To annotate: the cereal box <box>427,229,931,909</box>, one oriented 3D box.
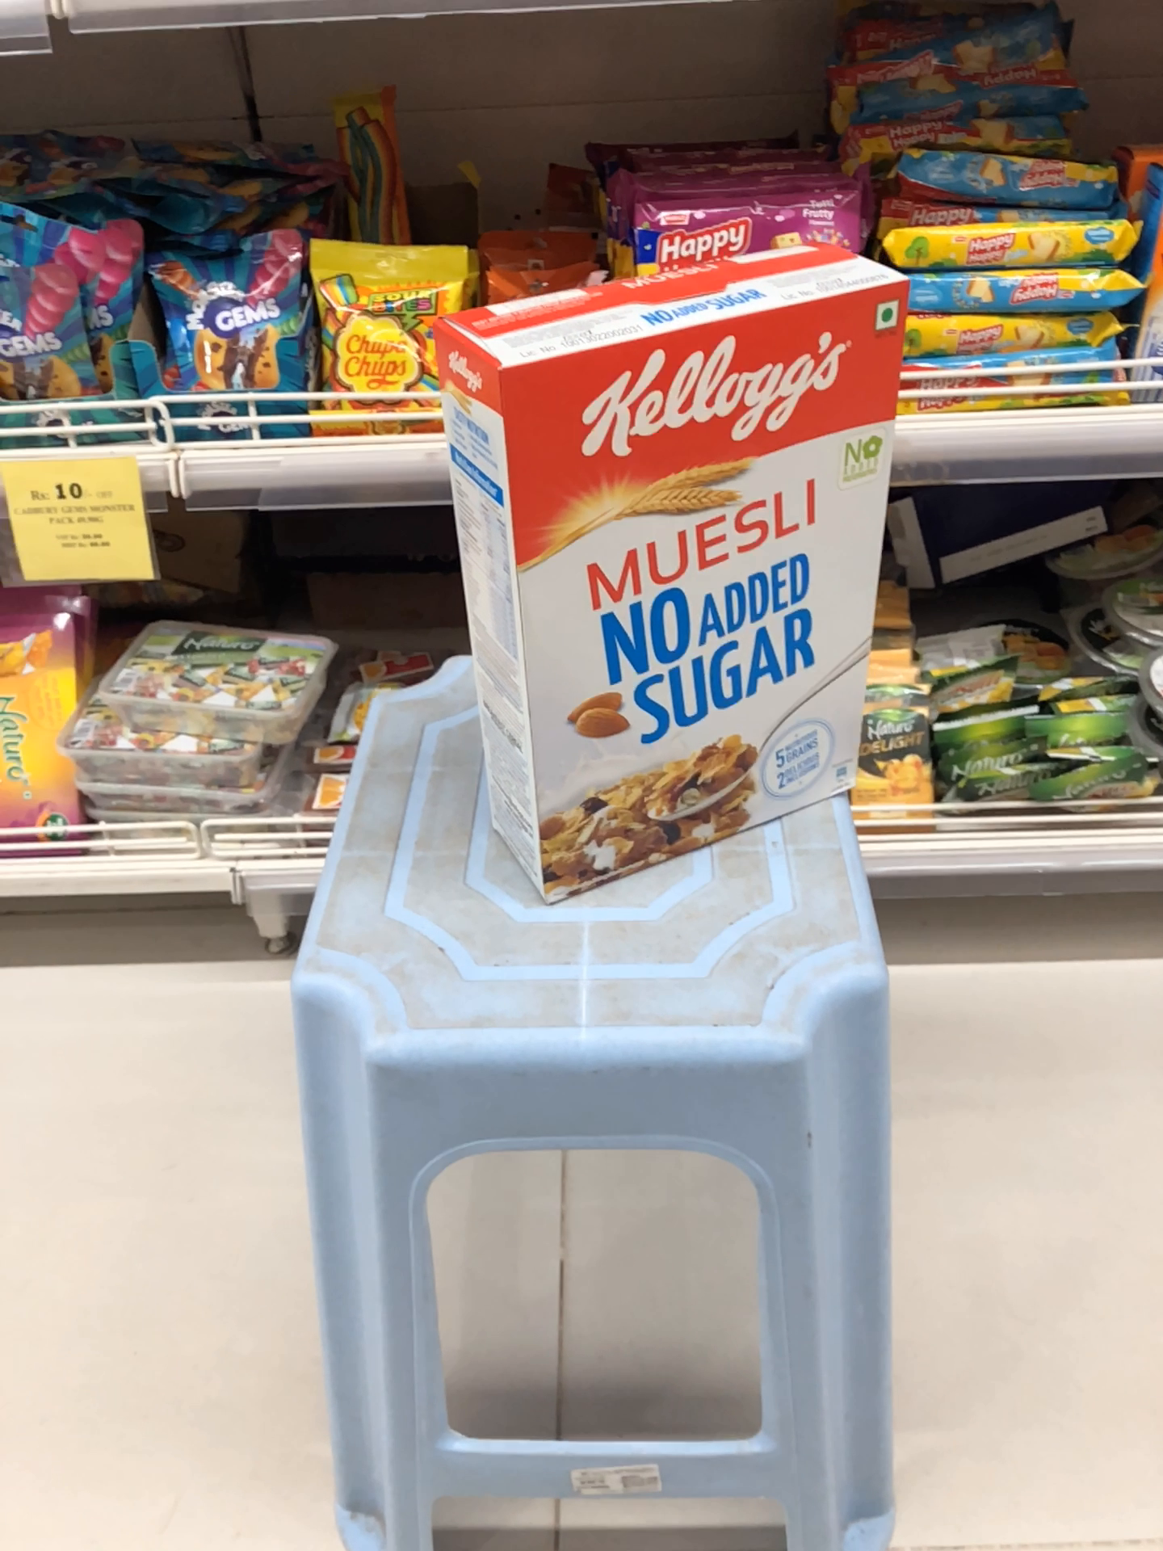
[{"bbox_3d":[0.046,-0.089,0.586,0.190,0.259,0.070,-20,40,-21],"label":"cereal box"}]
